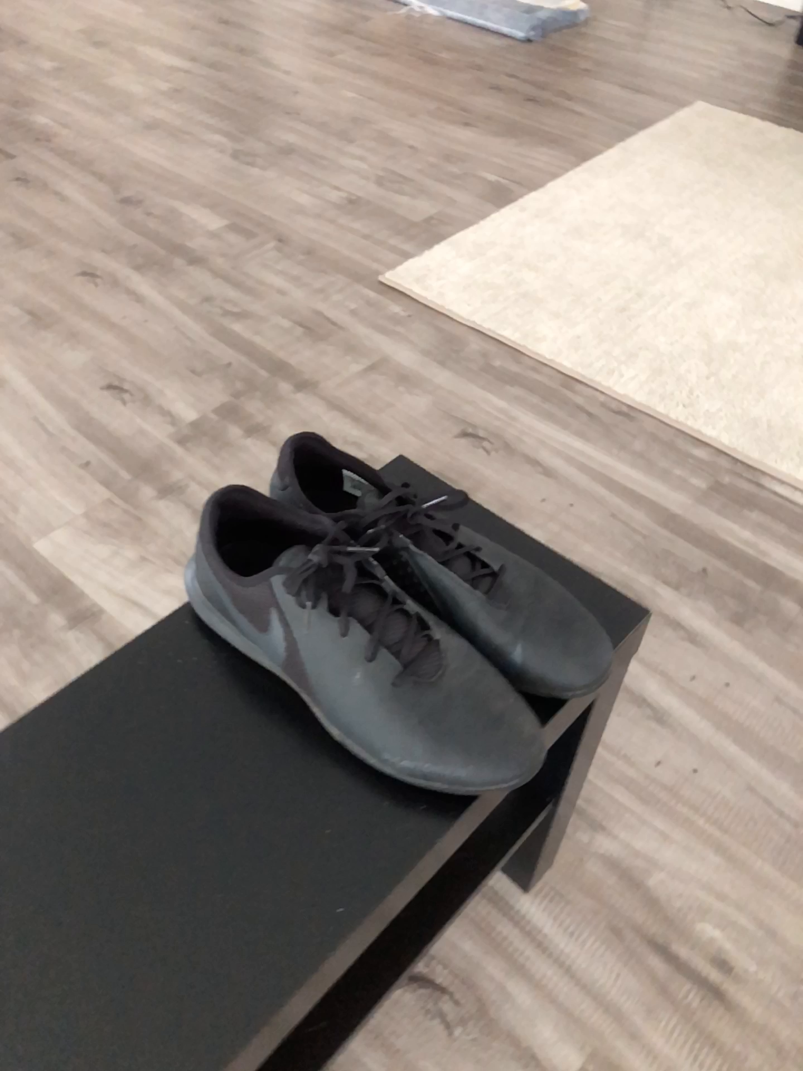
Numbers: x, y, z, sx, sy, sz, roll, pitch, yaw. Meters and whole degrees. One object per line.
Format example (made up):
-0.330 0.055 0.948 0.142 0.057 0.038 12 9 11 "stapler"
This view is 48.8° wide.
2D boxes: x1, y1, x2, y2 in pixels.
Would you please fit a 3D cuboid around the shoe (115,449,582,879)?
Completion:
-0.043 0.072 0.583 0.294 0.110 0.100 31 52 25 "shoe"

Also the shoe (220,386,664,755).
0.018 0.015 0.636 0.294 0.110 0.100 28 51 23 "shoe"
